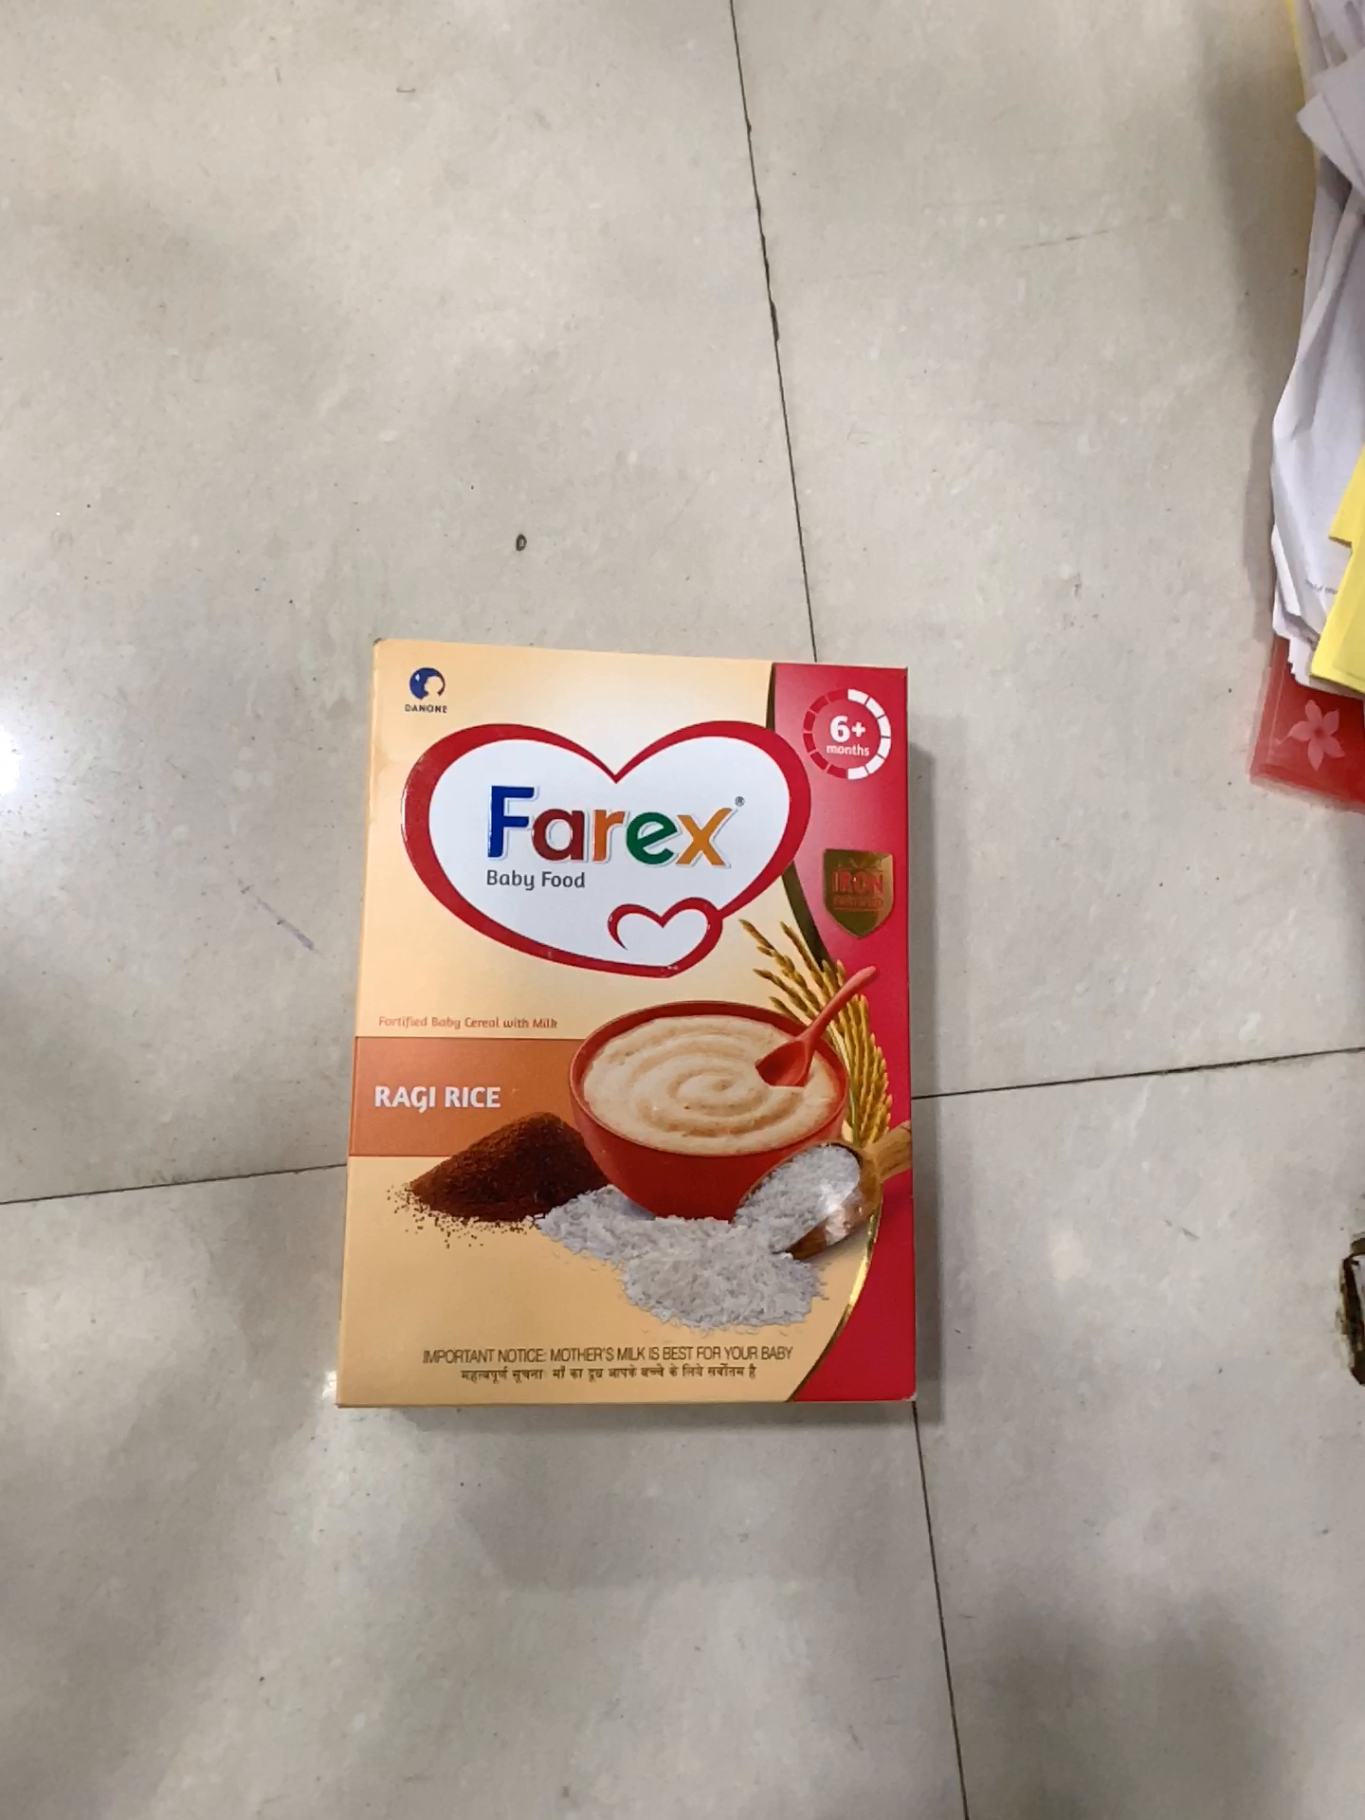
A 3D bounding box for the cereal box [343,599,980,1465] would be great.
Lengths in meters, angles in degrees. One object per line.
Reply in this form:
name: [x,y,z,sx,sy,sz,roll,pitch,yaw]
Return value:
cereal box: [-0.004,0.032,0.363,0.150,0.050,0.200,4,82,-12]
